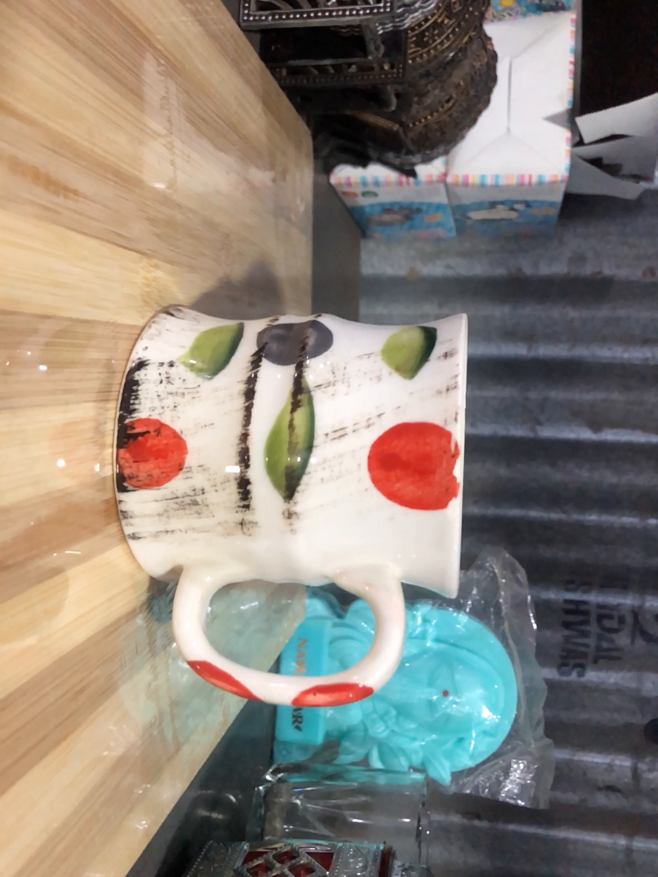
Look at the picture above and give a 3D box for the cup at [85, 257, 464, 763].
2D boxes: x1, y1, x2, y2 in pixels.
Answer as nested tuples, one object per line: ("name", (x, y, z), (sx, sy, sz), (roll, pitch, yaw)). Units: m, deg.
("cup", (-0.007, 0.016, 0.196), (0.060, 0.080, 0.110), (41, 52, -78))
